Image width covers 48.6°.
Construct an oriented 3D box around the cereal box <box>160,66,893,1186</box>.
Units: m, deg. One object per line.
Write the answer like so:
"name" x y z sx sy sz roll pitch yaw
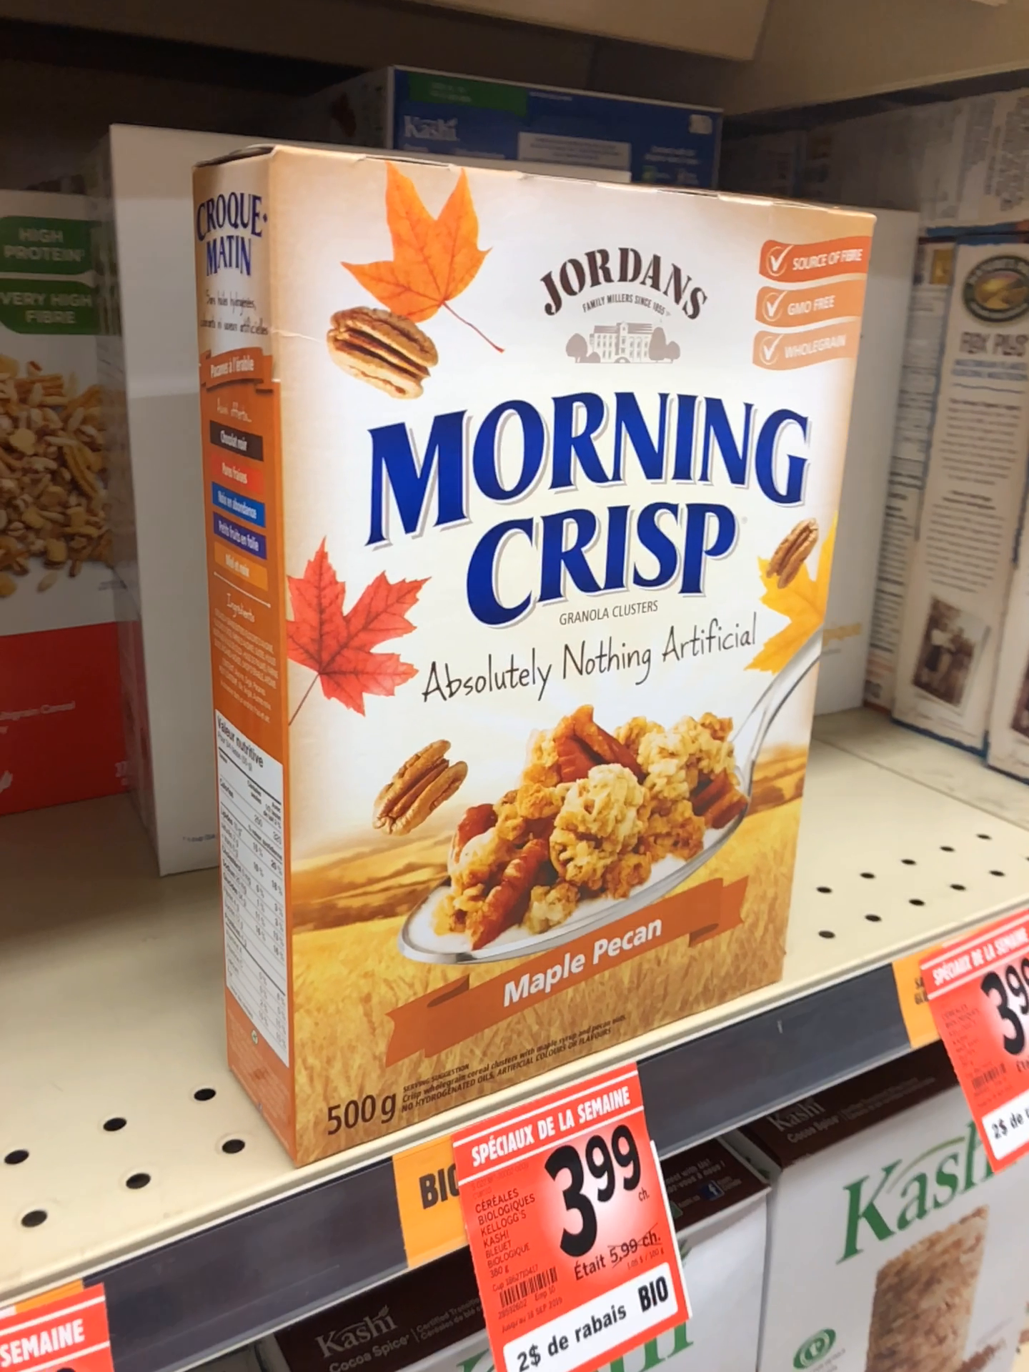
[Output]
"cereal box" 0.007 -0.015 0.326 0.190 0.259 0.050 -9 21 -33
